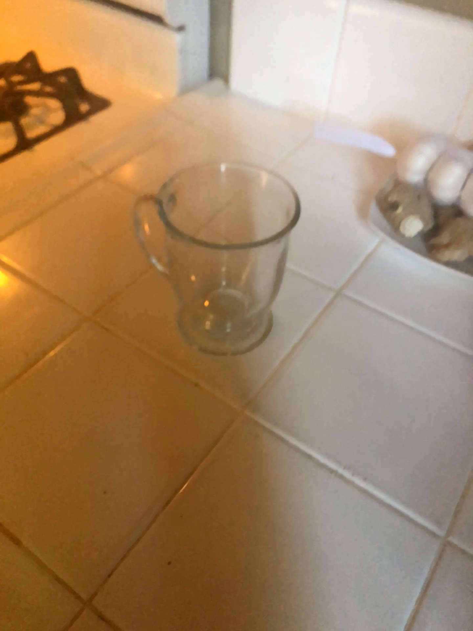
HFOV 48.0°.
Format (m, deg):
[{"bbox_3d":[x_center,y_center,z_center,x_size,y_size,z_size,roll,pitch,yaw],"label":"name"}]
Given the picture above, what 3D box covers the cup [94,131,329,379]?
[{"bbox_3d":[-0.017,-0.048,0.412,0.130,0.119,0.101,23,51,17],"label":"cup"}]
